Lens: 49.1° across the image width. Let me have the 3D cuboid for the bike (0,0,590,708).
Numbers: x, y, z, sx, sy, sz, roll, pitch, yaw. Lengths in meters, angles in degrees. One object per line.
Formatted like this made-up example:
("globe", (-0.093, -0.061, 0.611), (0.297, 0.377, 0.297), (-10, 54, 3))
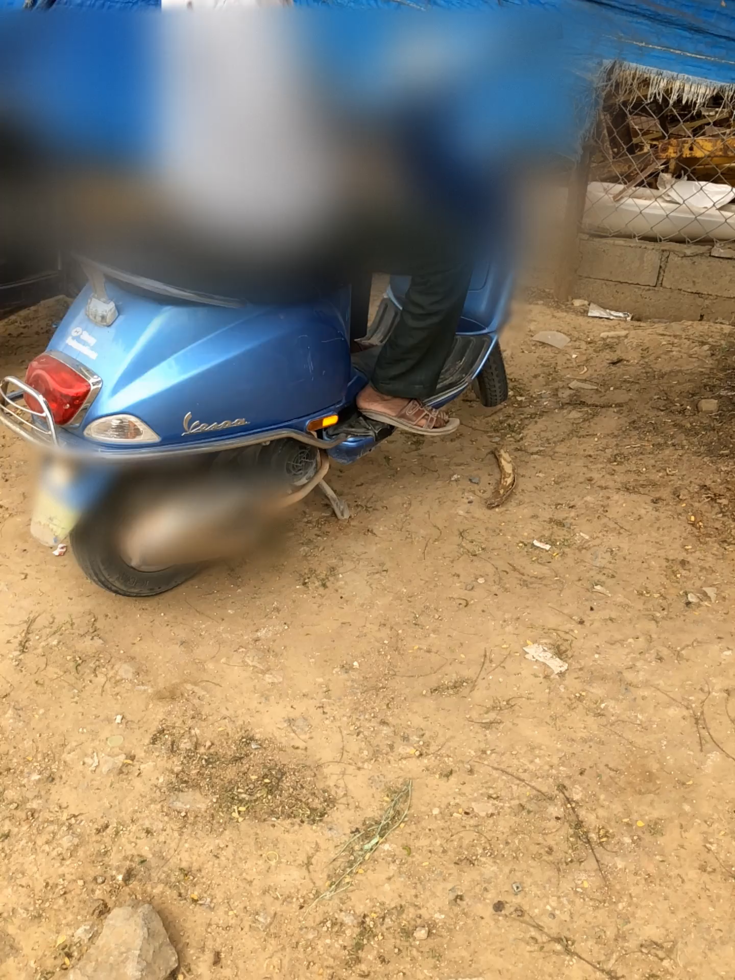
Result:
("bike", (-0.101, -0.620, 2.074), (0.632, 1.253, 1.575), (20, 38, 29))
